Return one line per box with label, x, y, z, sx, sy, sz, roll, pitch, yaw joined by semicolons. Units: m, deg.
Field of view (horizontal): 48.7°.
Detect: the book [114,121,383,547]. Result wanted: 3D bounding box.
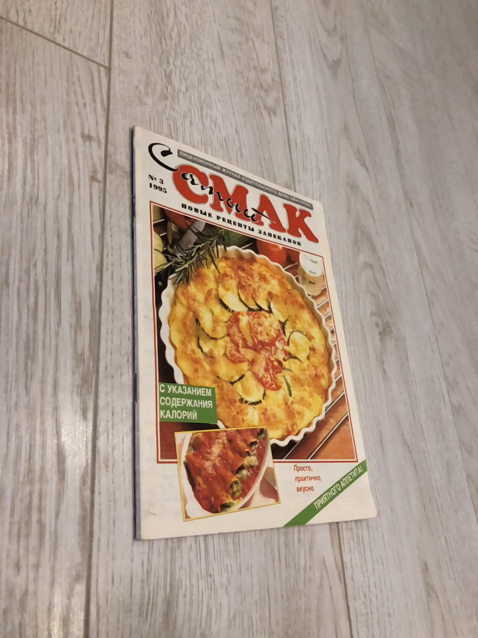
book;0.006;0.007;0.323;0.166;0.020;0.230;12;62;-36
